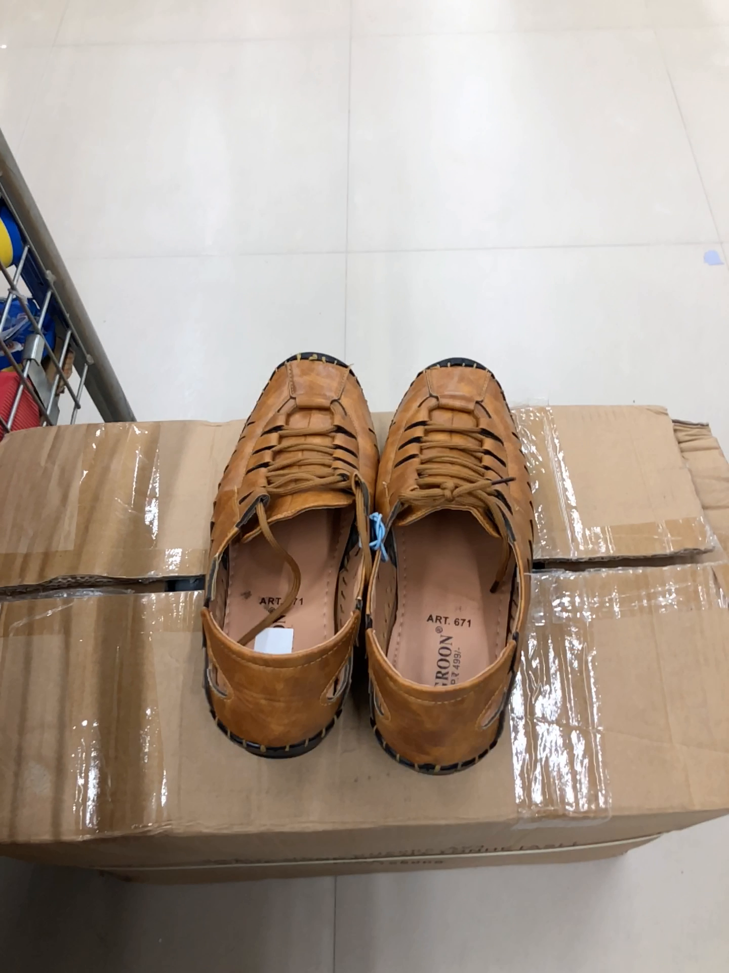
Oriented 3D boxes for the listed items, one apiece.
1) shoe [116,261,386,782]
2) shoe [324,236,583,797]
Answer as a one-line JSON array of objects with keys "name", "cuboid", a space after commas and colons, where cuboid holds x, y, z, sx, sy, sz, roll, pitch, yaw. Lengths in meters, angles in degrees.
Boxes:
[{"name": "shoe", "cuboid": [-0.048, 0.013, 0.487, 0.110, 0.120, 0.291, 1, 60, 3]}, {"name": "shoe", "cuboid": [0.053, 0.008, 0.469, 0.110, 0.120, 0.301, 3, 60, 4]}]
